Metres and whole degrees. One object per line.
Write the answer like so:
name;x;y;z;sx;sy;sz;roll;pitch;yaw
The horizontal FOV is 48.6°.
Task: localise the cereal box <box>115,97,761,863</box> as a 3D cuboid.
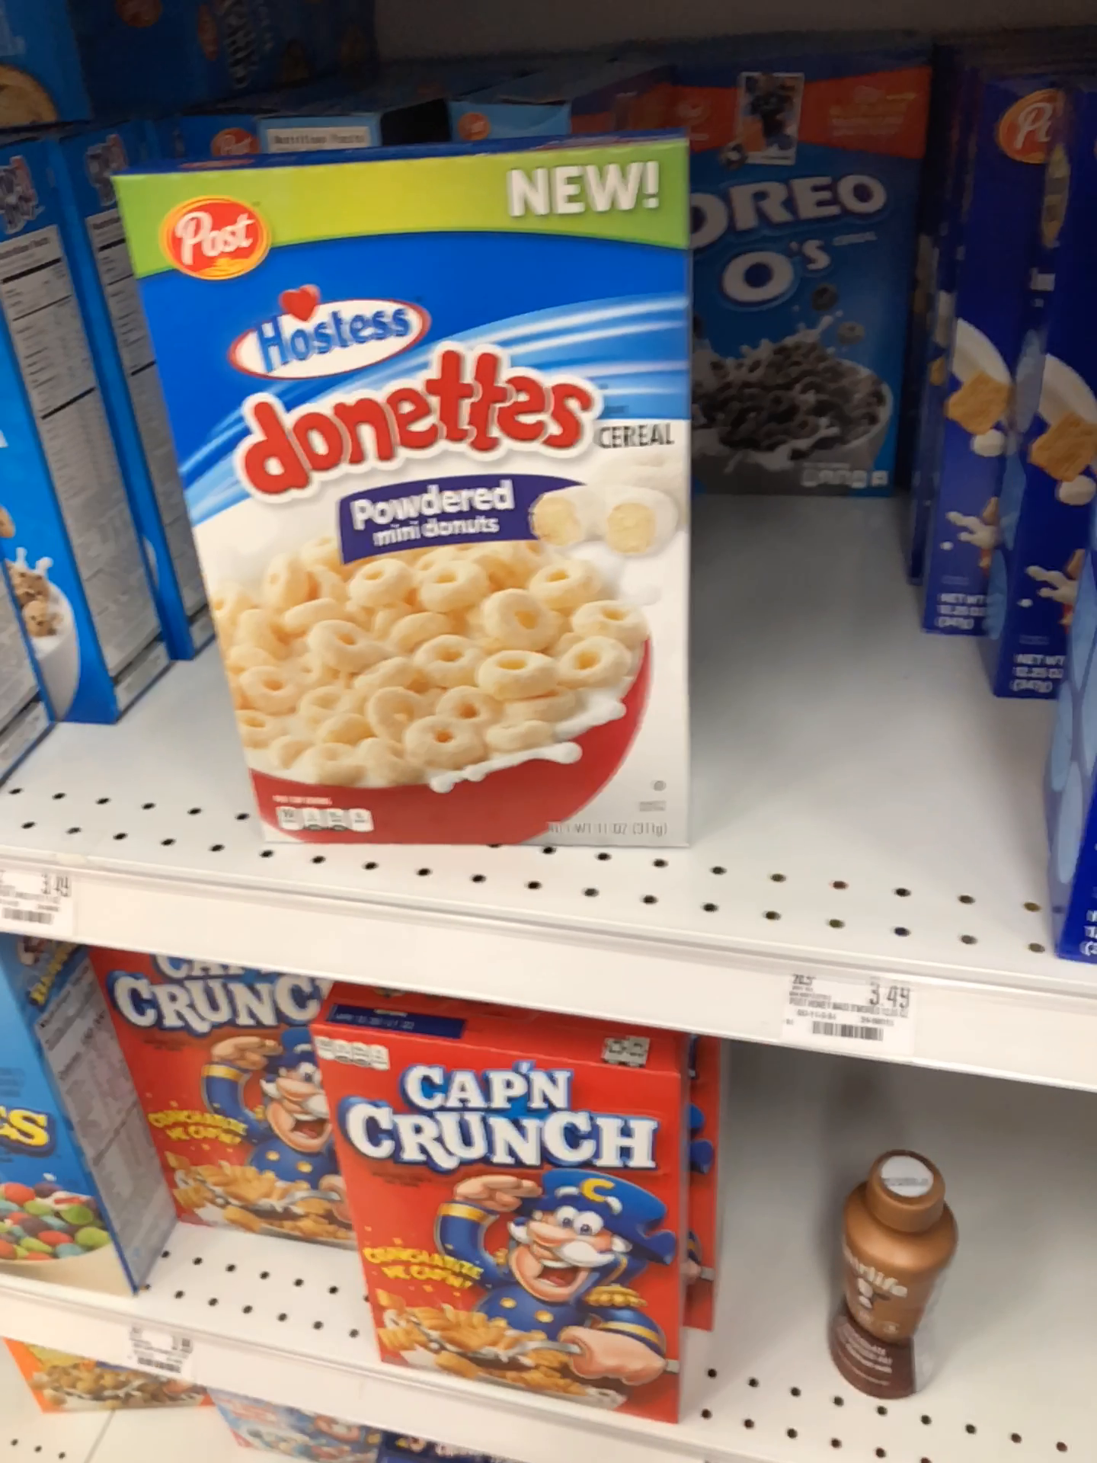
cereal box;-0.023;-0.076;0.442;0.190;0.259;0.060;0;31;8
